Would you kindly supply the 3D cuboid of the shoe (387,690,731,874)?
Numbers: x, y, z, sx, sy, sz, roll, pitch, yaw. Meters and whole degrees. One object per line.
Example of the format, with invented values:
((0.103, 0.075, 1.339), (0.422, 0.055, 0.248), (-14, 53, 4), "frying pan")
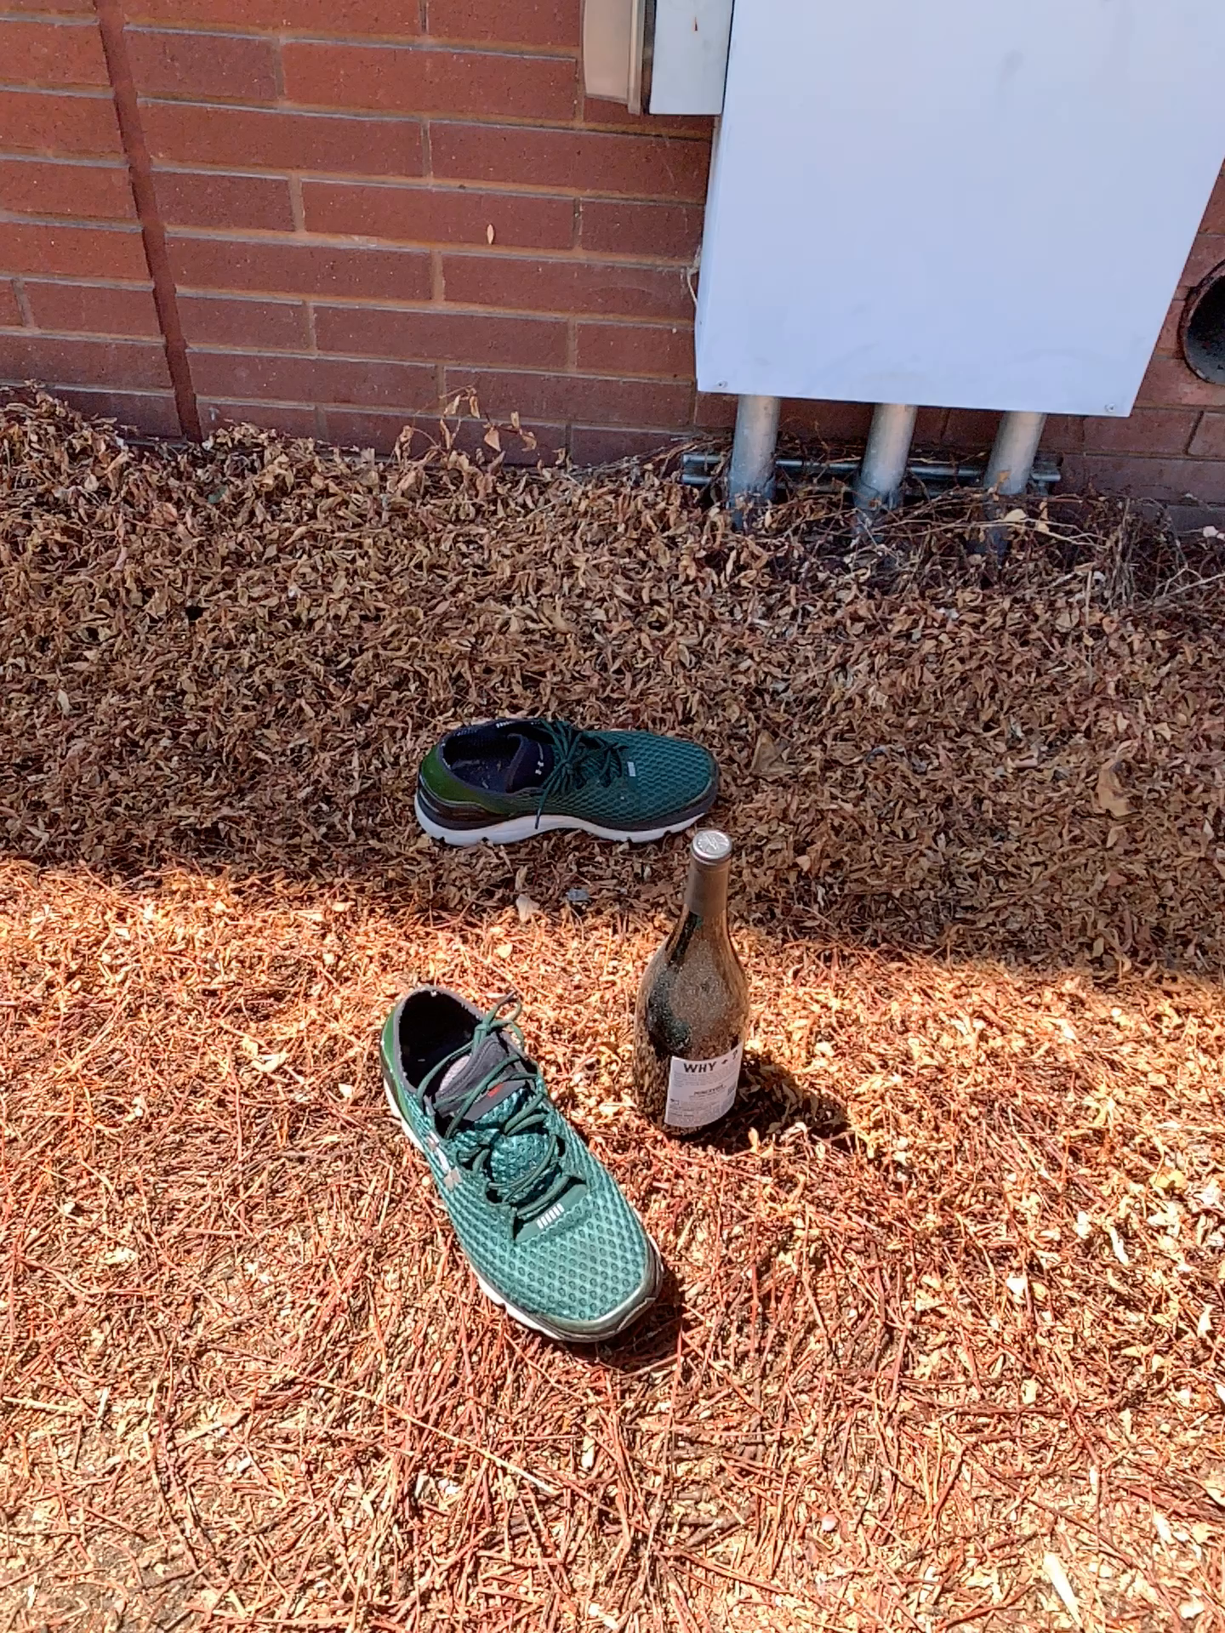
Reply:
((-0.054, -0.033, 1.172), (0.300, 0.109, 0.111), (-3, 46, -7), "shoe")

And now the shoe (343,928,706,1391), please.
((-0.069, 0.227, 0.876), (0.110, 0.109, 0.281), (-24, 52, -25), "shoe")
